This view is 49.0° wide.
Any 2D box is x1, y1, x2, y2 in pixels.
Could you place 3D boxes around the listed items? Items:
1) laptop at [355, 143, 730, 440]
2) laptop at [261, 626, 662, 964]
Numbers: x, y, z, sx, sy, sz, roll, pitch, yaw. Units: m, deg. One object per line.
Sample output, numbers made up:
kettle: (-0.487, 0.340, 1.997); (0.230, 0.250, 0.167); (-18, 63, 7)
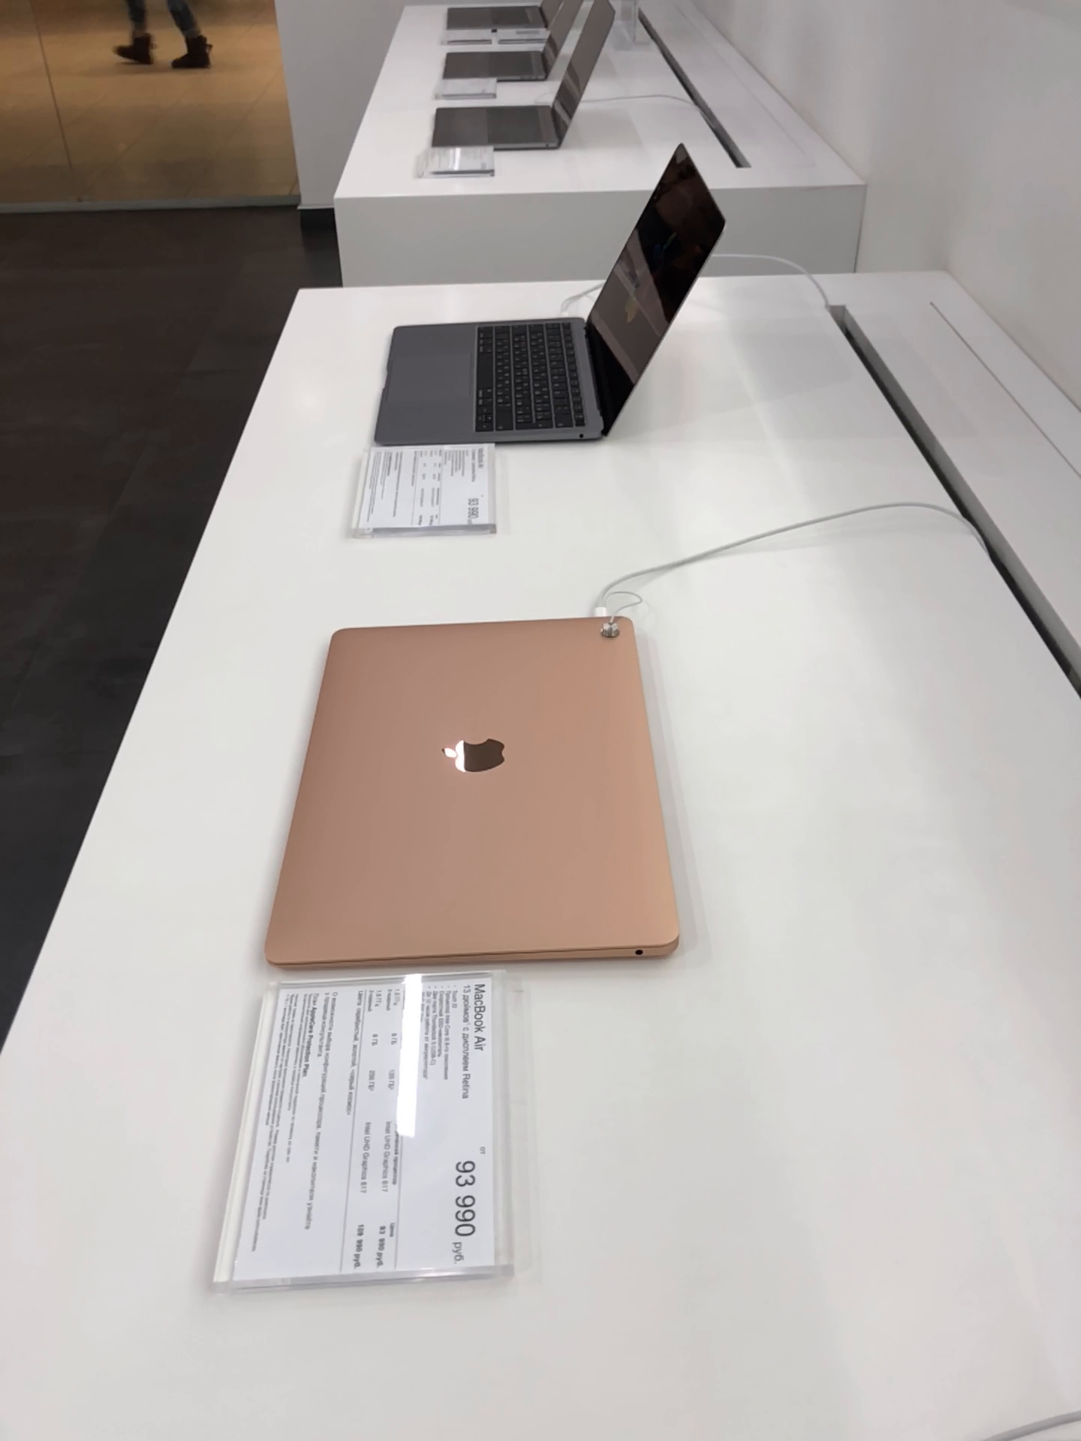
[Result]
laptop: (0.000, -0.428, 1.161); (0.311, 0.180, 0.305); (-3, 36, 1)
laptop: (-0.043, 0.028, 0.713); (0.201, 0.005, 0.295); (-3, 36, 1)
